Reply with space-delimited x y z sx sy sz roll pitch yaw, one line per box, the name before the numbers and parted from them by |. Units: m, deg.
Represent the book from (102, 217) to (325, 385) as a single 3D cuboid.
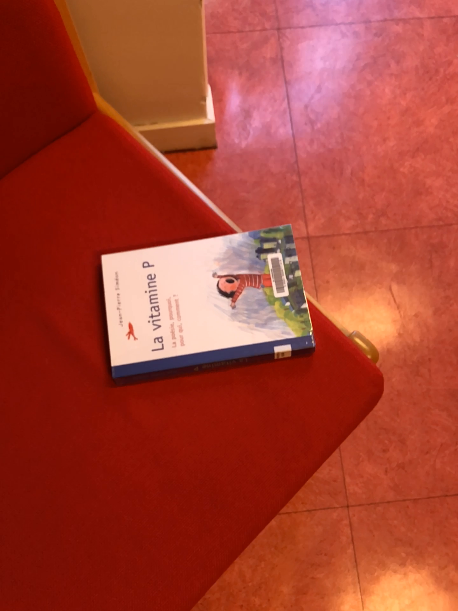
book | -0.019 -0.007 0.550 0.215 0.027 0.147 -9 75 -4
